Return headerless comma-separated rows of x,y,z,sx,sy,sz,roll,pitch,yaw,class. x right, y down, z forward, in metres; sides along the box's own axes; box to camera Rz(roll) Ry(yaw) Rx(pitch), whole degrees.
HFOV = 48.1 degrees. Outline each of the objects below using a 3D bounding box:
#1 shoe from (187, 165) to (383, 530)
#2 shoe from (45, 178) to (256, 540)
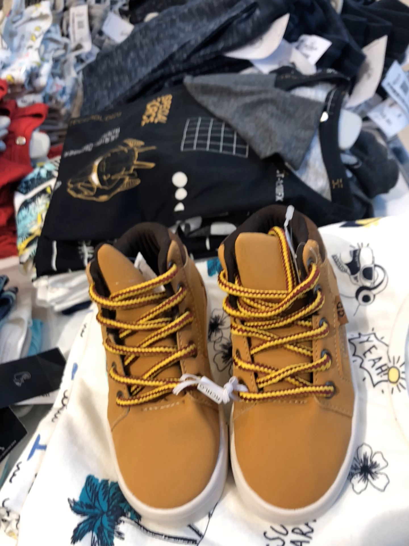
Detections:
0.046,0.033,0.253,0.070,0.089,0.171,-3,48,13,shoe
-0.023,0.041,0.259,0.070,0.089,0.171,-10,49,6,shoe
